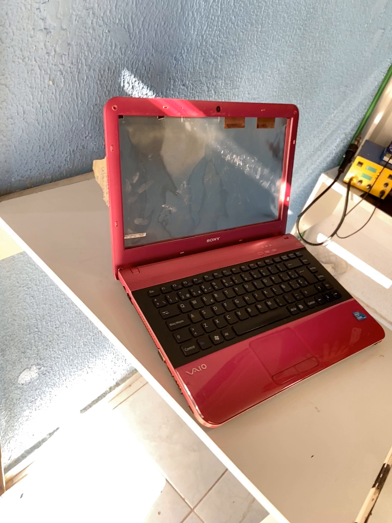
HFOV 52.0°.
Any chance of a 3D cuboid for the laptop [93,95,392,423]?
[{"bbox_3d":[0.089,-0.046,0.546,0.332,0.187,0.340,-12,50,-33],"label":"laptop"}]
